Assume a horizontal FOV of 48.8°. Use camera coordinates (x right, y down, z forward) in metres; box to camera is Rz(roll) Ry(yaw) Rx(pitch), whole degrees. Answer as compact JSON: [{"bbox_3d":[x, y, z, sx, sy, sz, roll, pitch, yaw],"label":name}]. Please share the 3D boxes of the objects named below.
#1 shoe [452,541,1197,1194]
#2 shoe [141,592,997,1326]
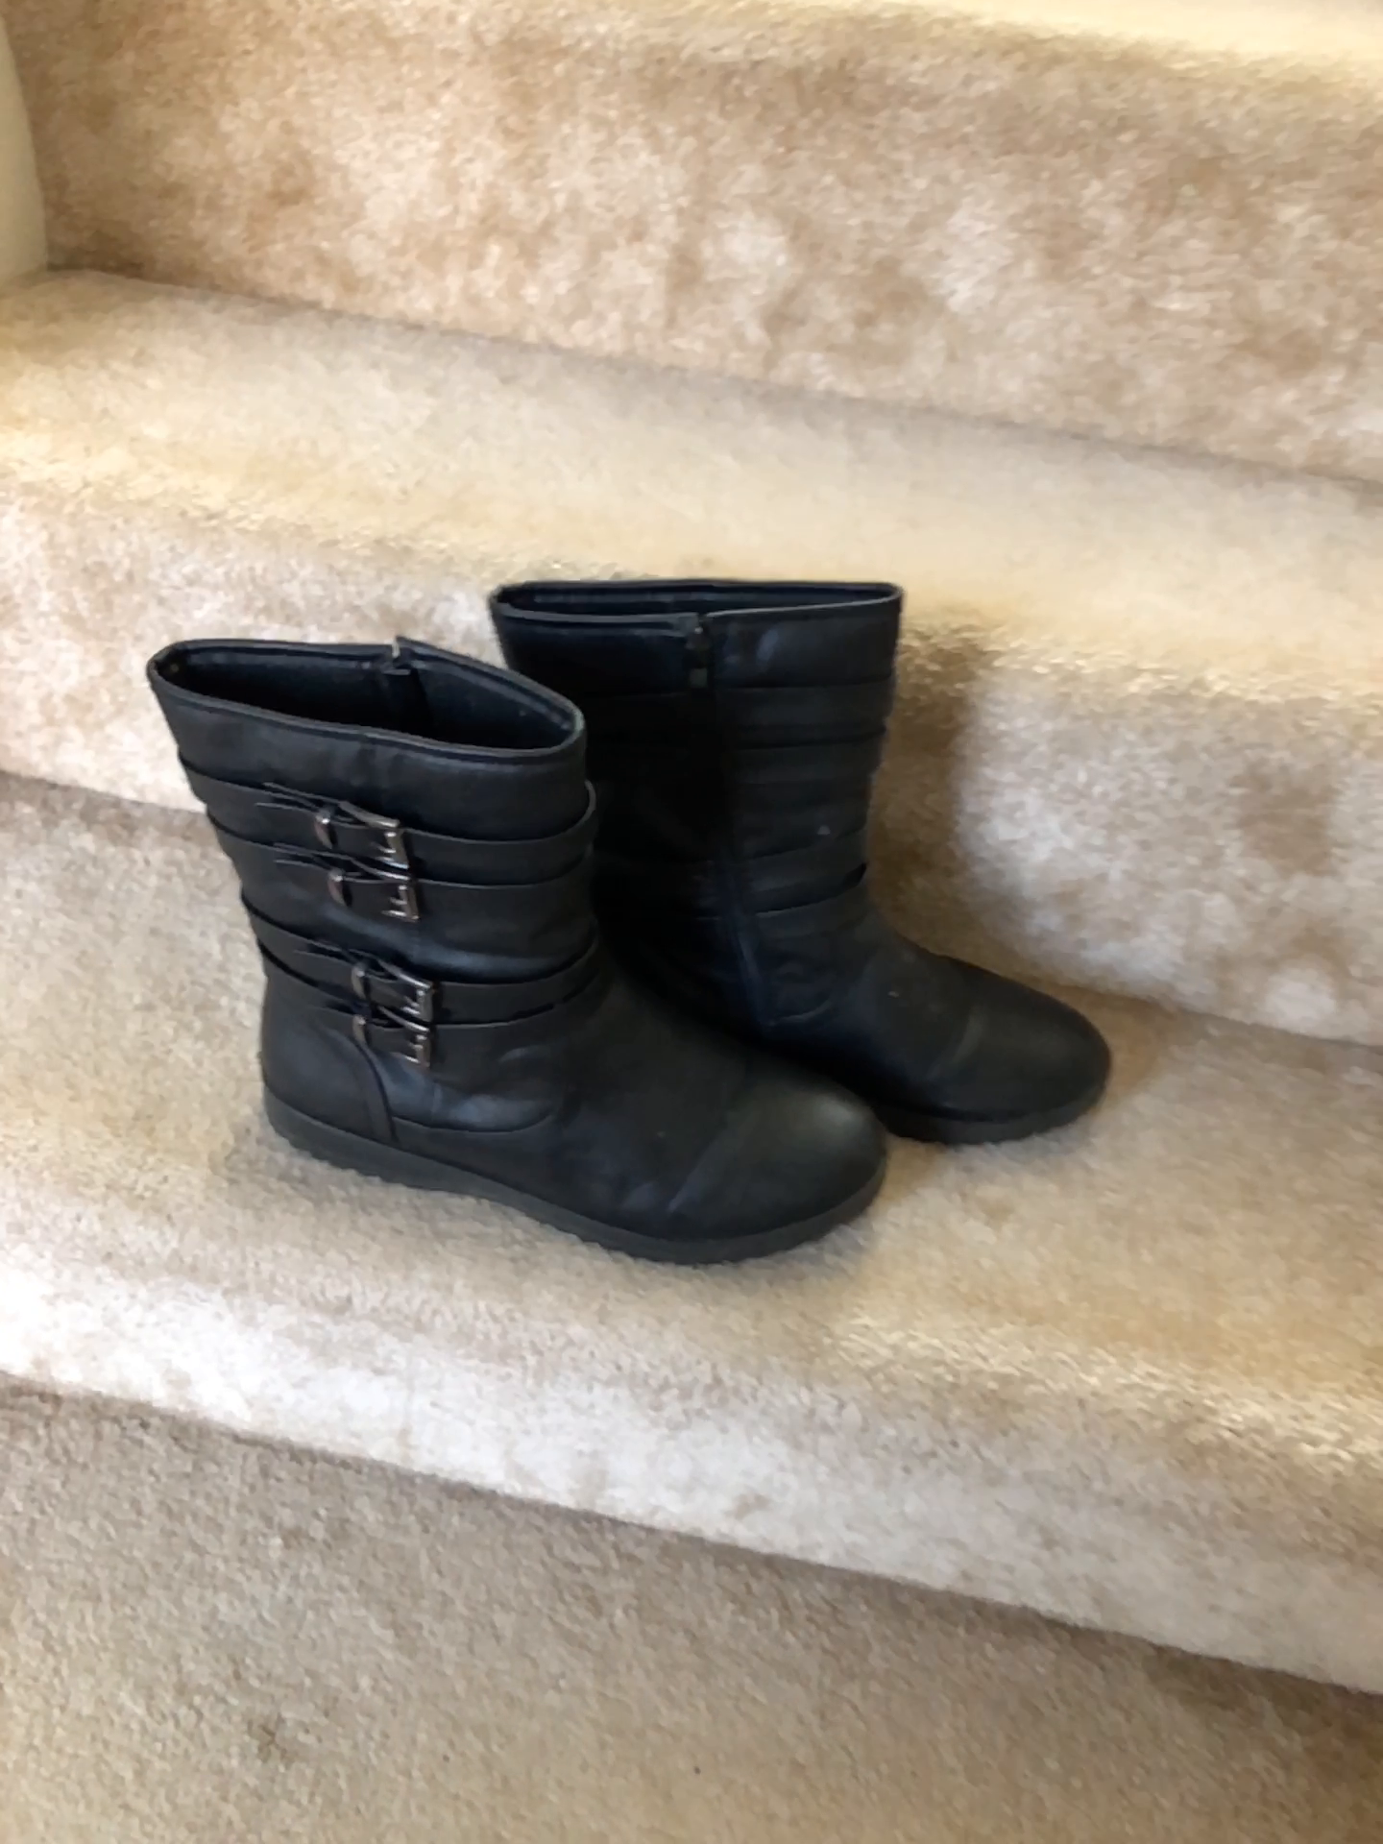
[{"bbox_3d":[0.052,-0.023,0.652,0.270,0.218,0.101,10,40,12],"label":"shoe"},{"bbox_3d":[-0.046,0.015,0.578,0.270,0.199,0.101,14,40,8],"label":"shoe"}]
